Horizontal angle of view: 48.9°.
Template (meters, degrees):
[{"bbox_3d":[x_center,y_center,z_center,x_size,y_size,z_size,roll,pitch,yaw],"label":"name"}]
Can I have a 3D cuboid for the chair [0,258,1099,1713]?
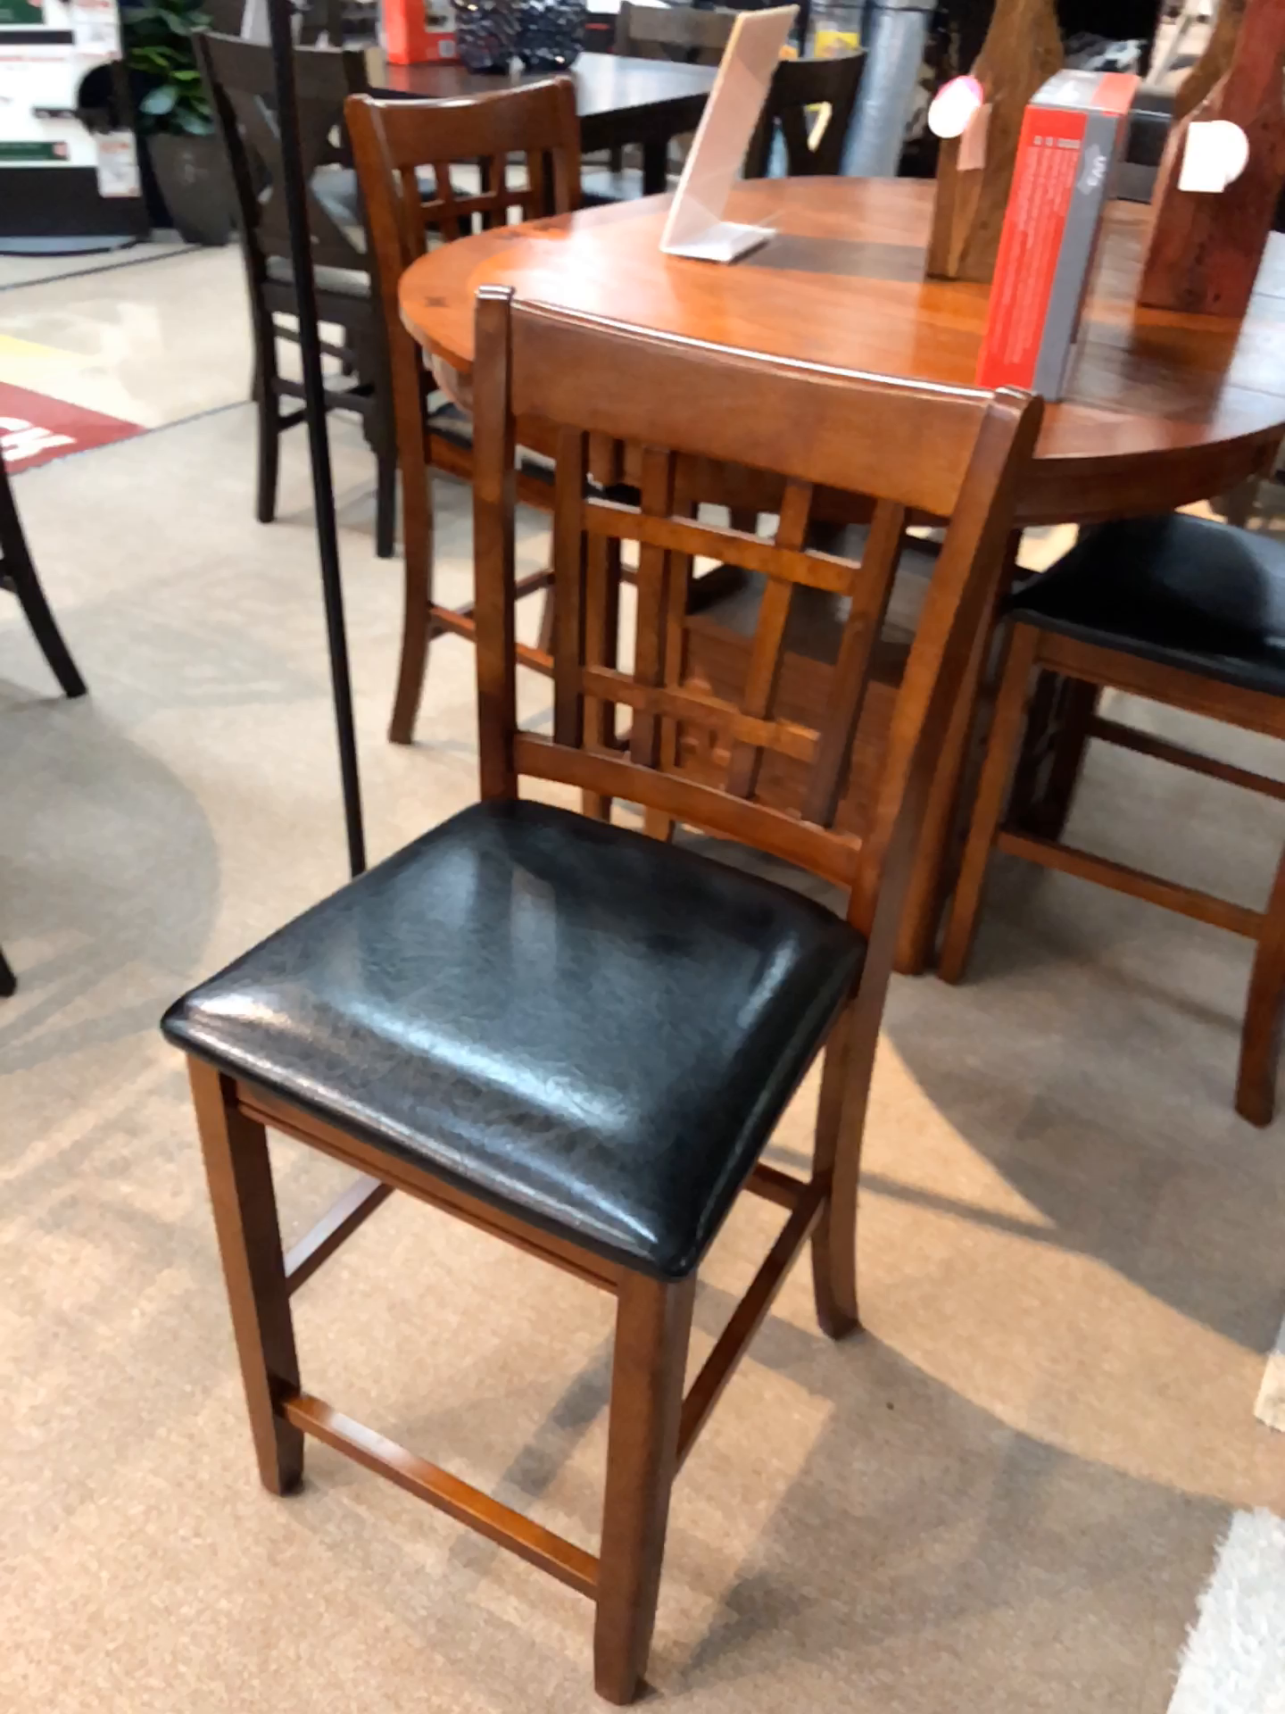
[{"bbox_3d":[-0.044,0.110,1.137,0.471,0.963,0.523,20,37,22],"label":"chair"}]
